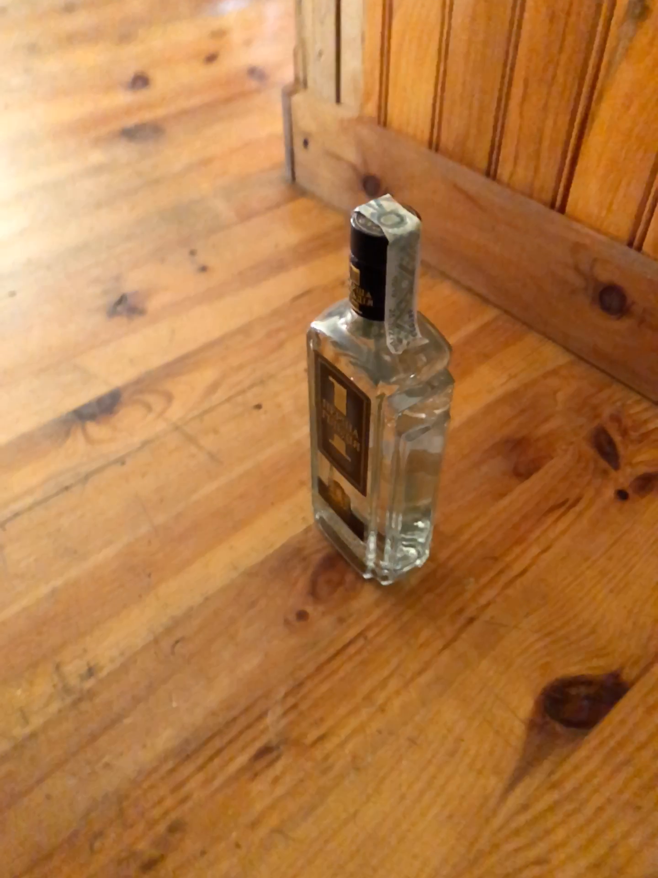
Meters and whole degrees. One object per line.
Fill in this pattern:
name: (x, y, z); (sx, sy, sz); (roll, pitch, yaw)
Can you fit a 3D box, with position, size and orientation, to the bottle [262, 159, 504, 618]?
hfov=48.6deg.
bottle: (0.023, -0.013, 0.415); (0.060, 0.248, 0.100); (-27, 52, -22)
